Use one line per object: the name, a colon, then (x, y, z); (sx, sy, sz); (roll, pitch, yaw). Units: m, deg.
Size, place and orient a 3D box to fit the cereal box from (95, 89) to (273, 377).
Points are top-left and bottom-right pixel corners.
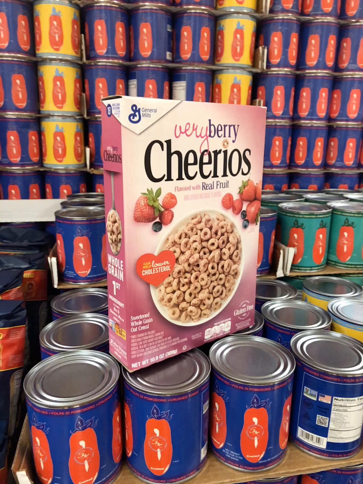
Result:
cereal box: (0.008, -0.017, 0.472); (0.201, 0.289, 0.060); (-10, 18, -37)
